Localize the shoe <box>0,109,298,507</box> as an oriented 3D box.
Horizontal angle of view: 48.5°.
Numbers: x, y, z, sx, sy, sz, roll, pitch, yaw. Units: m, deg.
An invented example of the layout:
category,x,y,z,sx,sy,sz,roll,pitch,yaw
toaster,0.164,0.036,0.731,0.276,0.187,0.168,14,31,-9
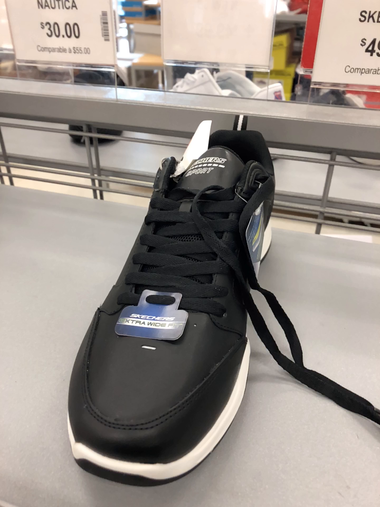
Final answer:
category,x,y,z,sx,sy,sz,roll,pitch,yaw
shoe,-0.003,-0.007,0.342,0.130,0.109,0.353,10,36,14
